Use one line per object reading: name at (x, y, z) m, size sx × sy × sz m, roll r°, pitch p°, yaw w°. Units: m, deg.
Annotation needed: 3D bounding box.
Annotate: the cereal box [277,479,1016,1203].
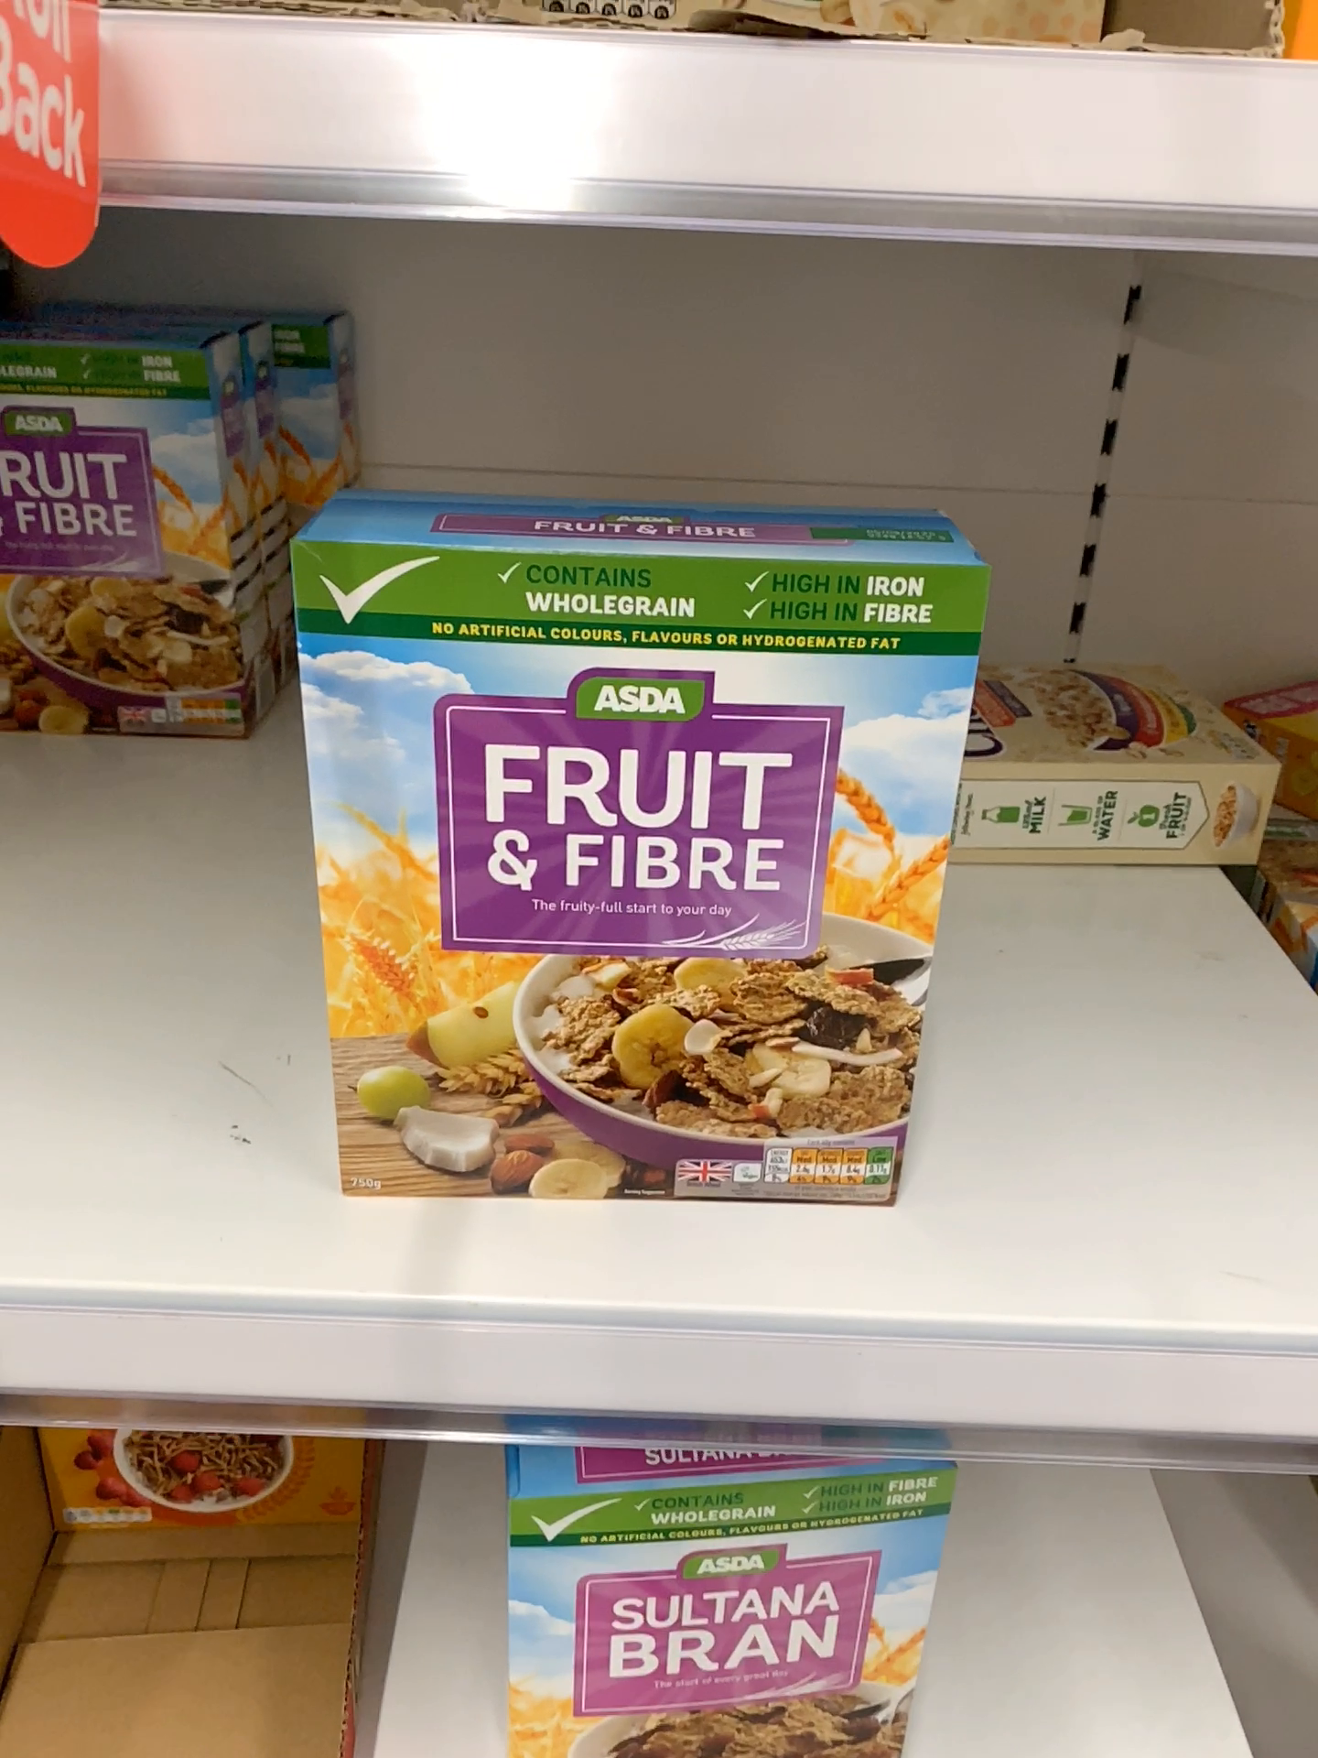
cereal box at (-0.008, -0.008, 0.515) m, size 0.230 × 0.258 × 0.081 m, roll 2°, pitch 27°, yaw -1°
